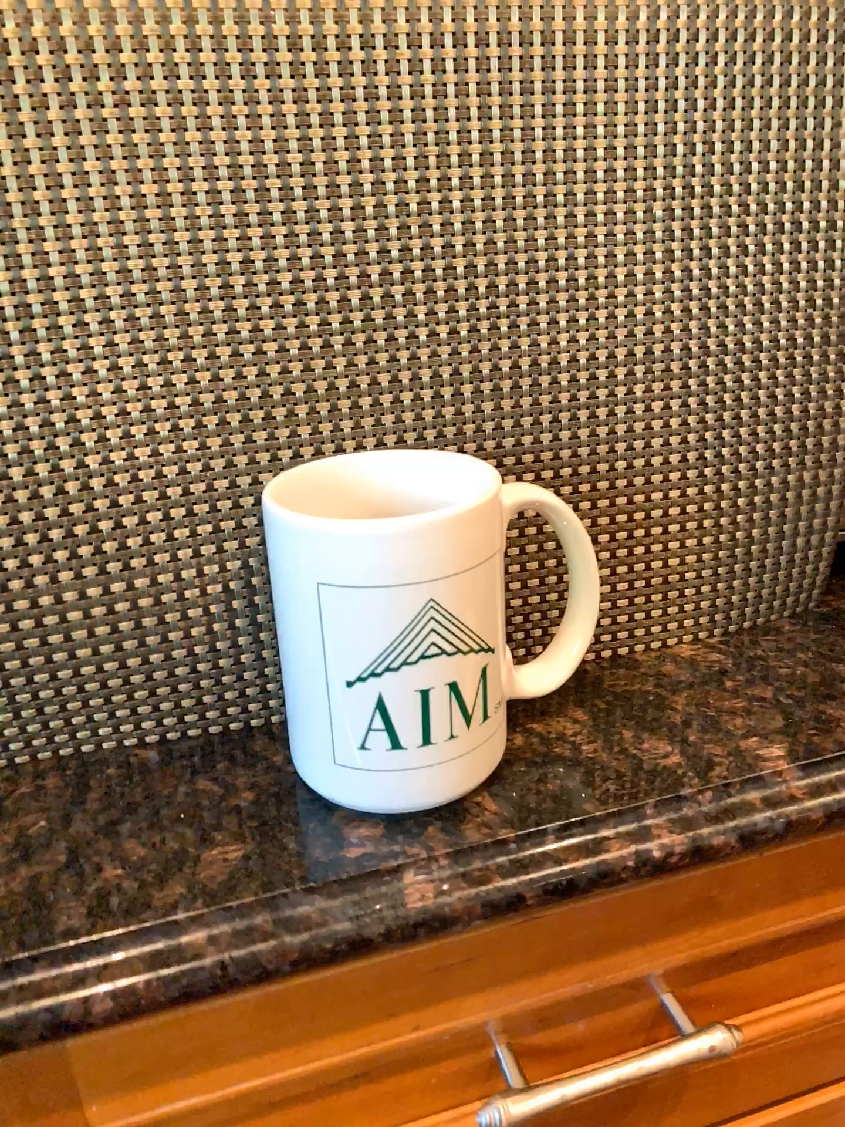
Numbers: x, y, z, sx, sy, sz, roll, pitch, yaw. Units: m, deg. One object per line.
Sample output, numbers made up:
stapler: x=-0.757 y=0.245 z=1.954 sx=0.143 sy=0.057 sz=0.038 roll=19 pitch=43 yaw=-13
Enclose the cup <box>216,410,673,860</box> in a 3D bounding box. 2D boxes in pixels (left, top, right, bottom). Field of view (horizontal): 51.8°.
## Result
cup: x=0.007 y=0.015 z=0.319 sx=0.130 sy=0.109 sz=0.090 roll=-13 pitch=24 yaw=-23
